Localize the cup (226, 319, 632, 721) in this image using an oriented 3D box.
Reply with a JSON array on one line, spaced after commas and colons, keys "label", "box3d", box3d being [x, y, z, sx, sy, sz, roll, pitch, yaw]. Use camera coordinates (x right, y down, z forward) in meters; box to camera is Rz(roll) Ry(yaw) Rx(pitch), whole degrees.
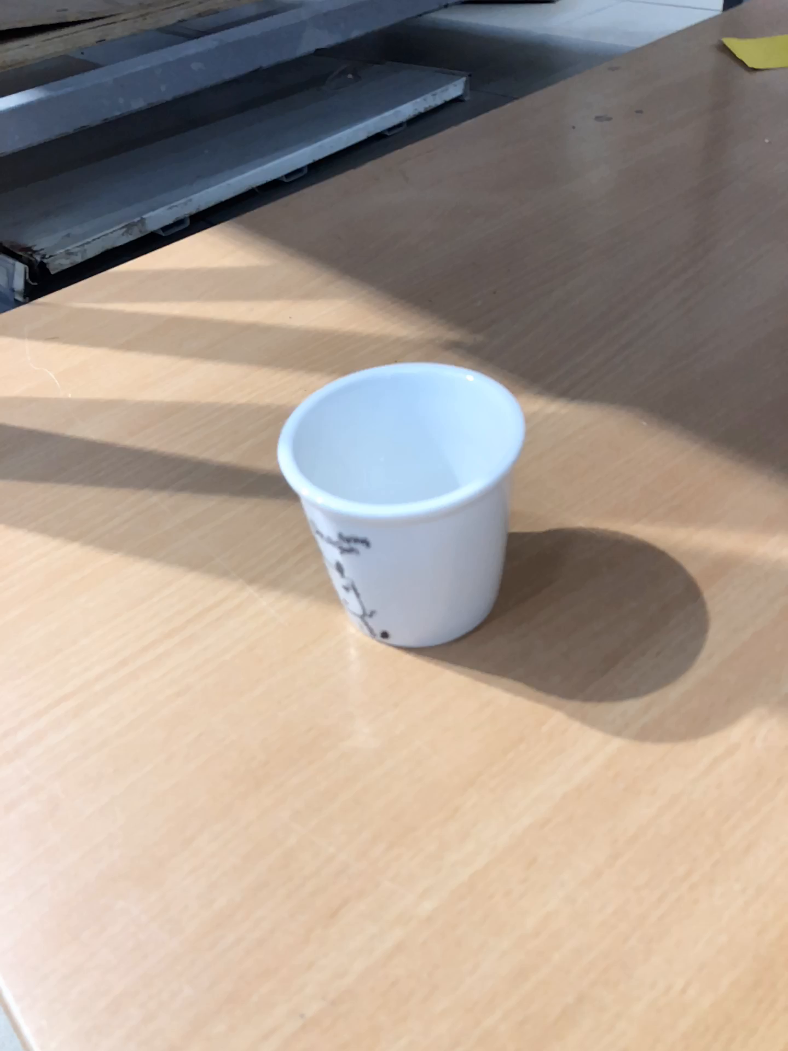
[{"label": "cup", "box3d": [0.011, -0.007, 0.260, 0.080, 0.060, 0.080, -5, 41, 4]}]
